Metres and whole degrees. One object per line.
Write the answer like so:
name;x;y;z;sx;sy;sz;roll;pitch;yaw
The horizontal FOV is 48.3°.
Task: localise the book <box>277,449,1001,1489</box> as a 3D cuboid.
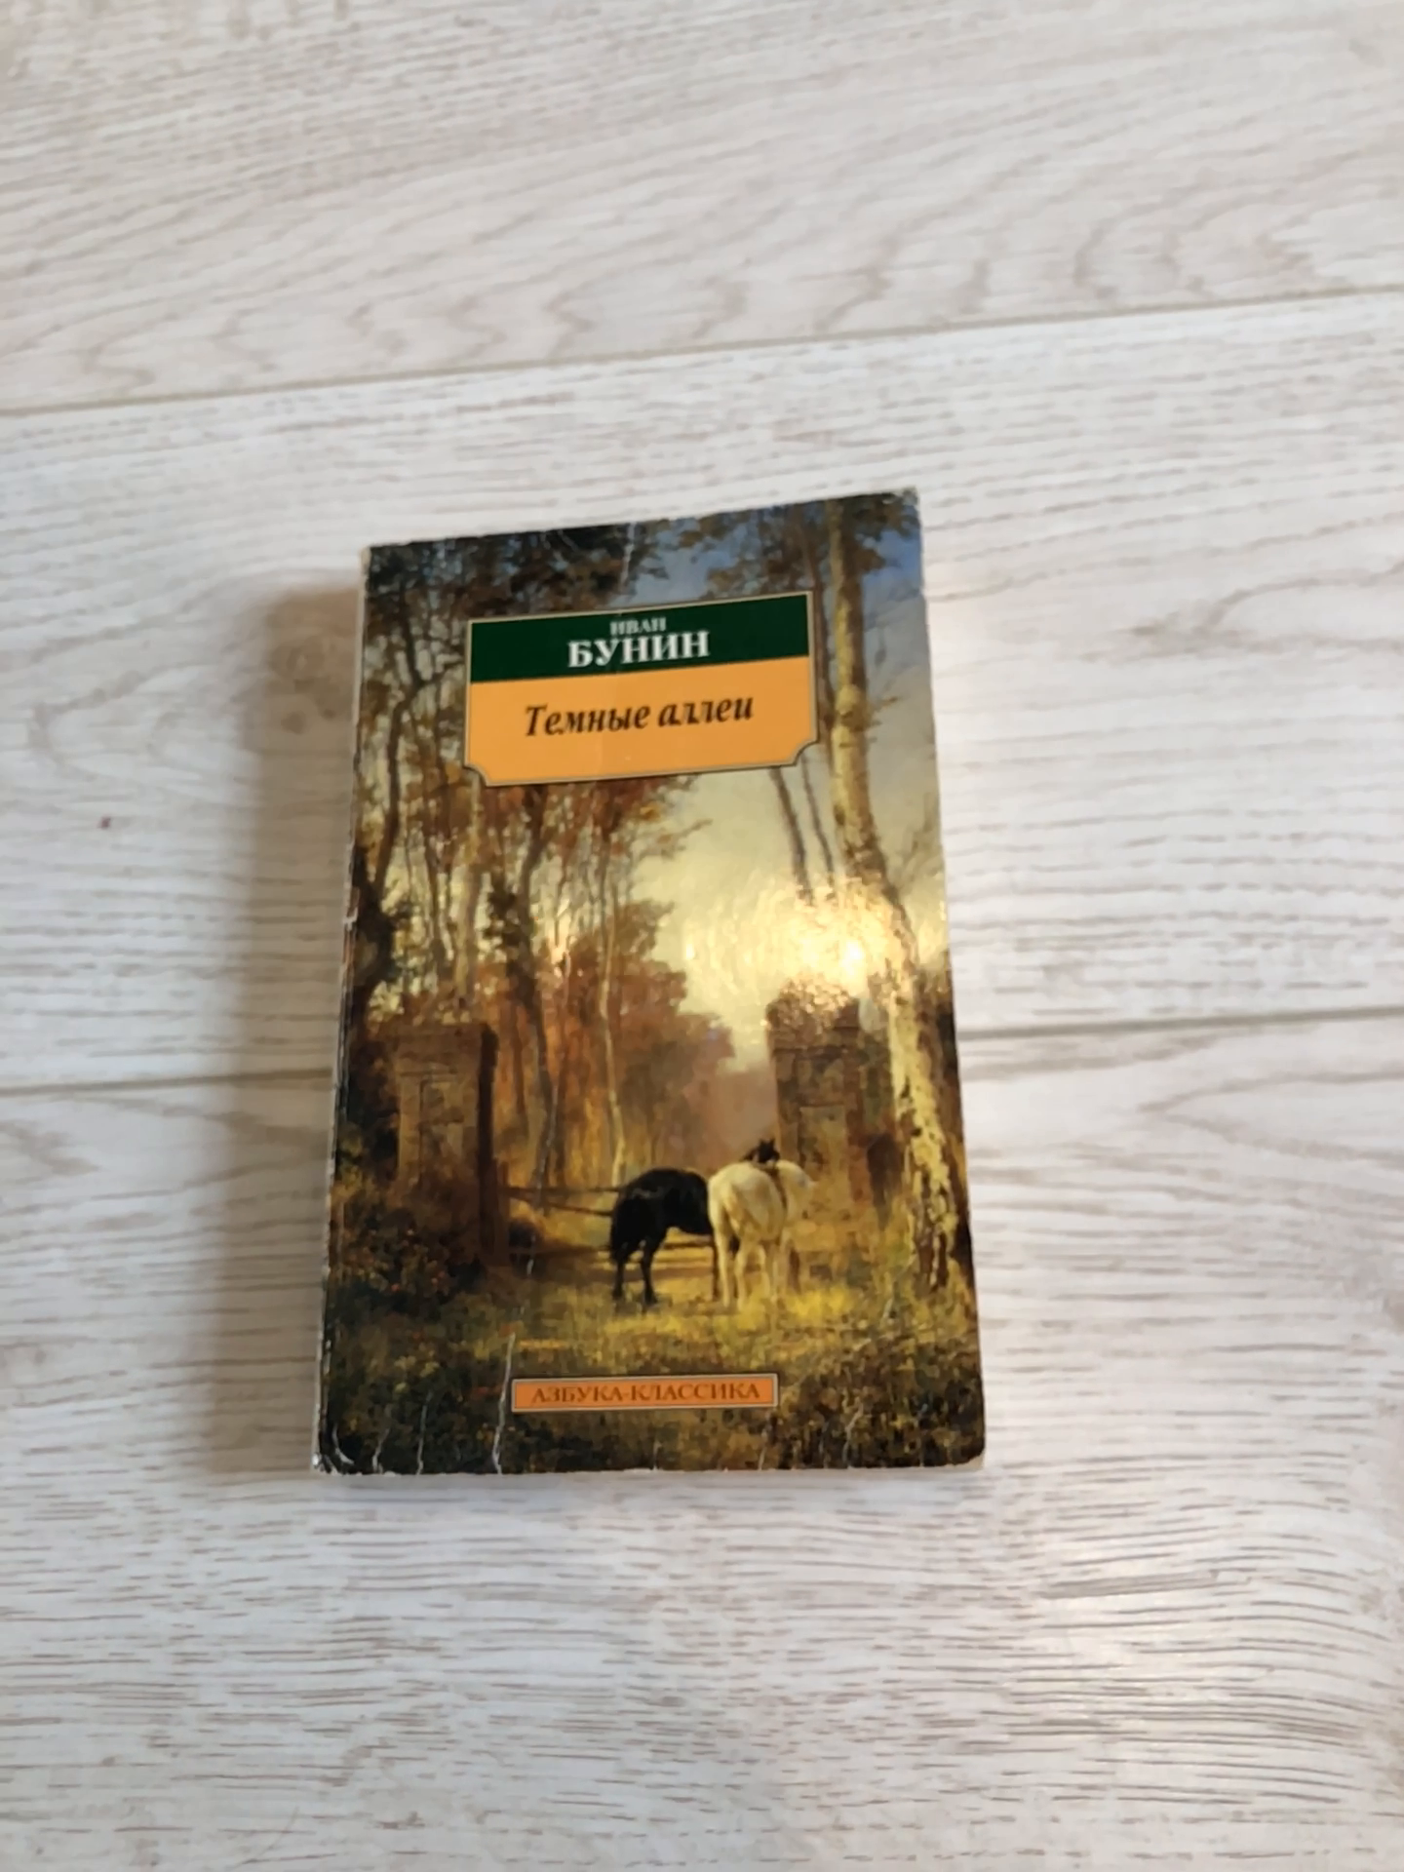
book;-0.011;0.003;0.277;0.112;0.024;0.177;-4;72;7
